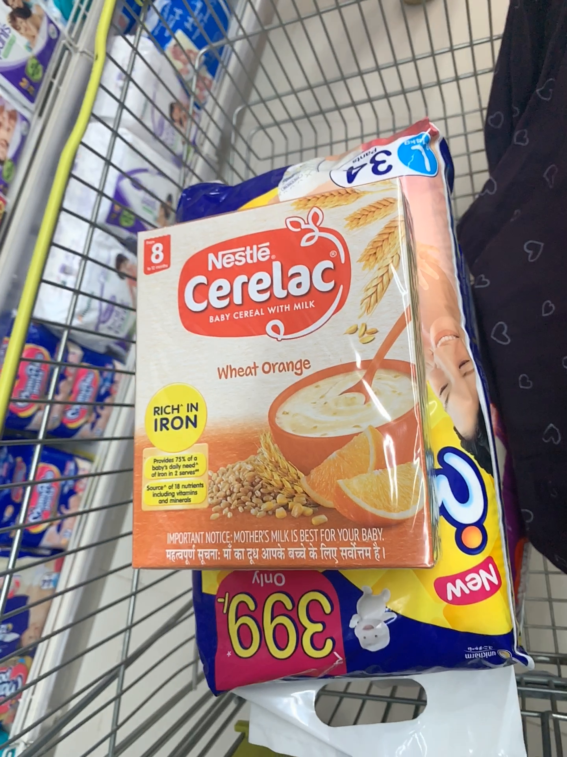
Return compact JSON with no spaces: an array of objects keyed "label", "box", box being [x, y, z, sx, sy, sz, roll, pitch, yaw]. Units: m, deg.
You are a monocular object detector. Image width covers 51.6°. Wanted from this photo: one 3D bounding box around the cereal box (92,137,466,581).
[{"label":"cereal box","box":[-0.008,-0.002,0.296,0.170,0.050,0.190,-6,77,21]}]
